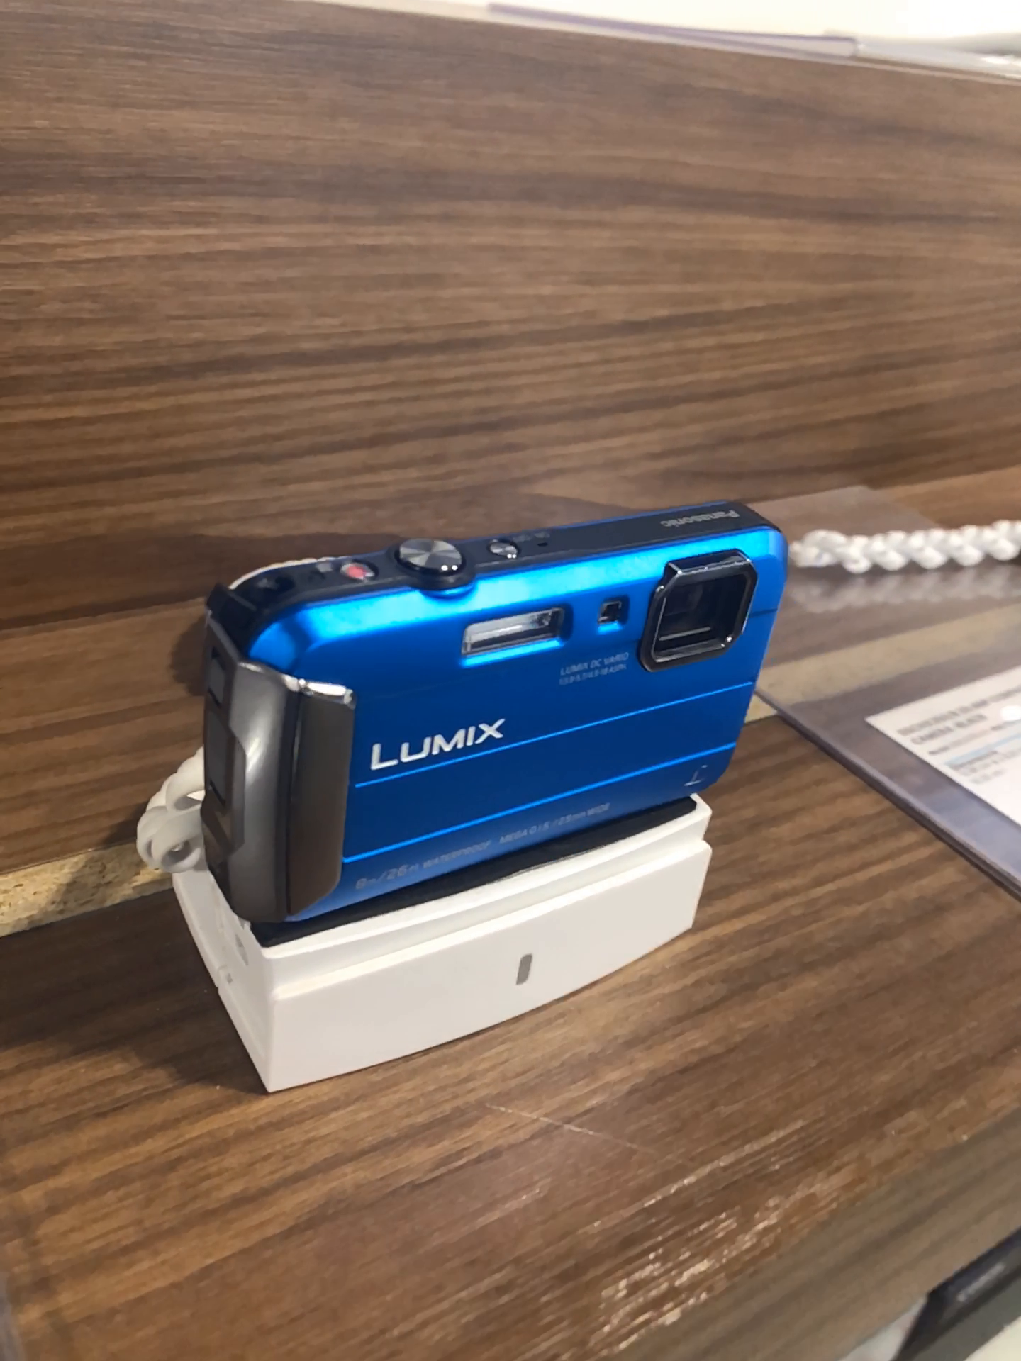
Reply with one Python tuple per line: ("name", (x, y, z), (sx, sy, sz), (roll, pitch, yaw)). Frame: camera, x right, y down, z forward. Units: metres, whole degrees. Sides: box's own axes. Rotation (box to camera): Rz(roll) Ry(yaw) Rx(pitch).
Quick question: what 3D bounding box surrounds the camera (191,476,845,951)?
("camera", (0.002, 0.001, 0.181), (0.101, 0.051, 0.023), (-13, 40, -31))
